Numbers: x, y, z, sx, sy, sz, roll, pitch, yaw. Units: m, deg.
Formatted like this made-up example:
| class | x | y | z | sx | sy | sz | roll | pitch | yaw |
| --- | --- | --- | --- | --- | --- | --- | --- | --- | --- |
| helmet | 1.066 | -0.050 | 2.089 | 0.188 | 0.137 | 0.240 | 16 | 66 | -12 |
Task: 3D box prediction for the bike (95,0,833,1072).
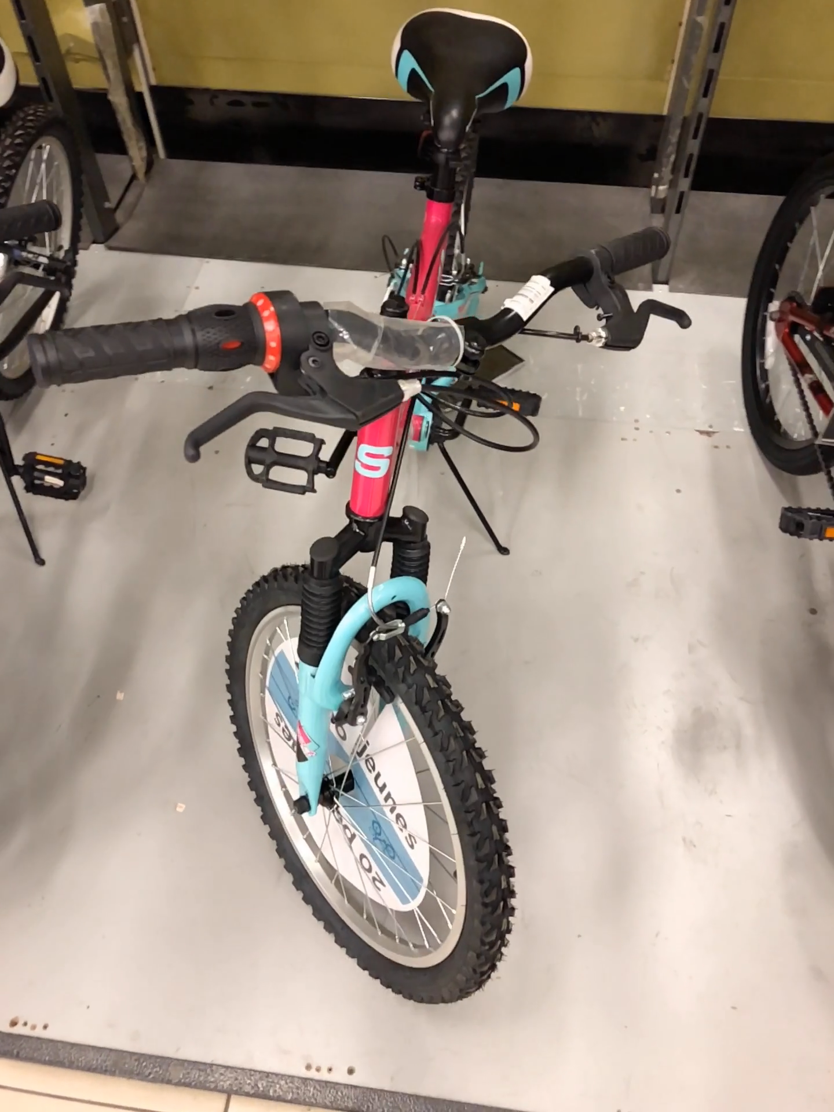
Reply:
| class | x | y | z | sx | sy | sz | roll | pitch | yaw |
| --- | --- | --- | --- | --- | --- | --- | --- | --- | --- |
| bike | 0.118 | -0.169 | 1.092 | 0.562 | 0.765 | 1.219 | 0 | 57 | 2 |
